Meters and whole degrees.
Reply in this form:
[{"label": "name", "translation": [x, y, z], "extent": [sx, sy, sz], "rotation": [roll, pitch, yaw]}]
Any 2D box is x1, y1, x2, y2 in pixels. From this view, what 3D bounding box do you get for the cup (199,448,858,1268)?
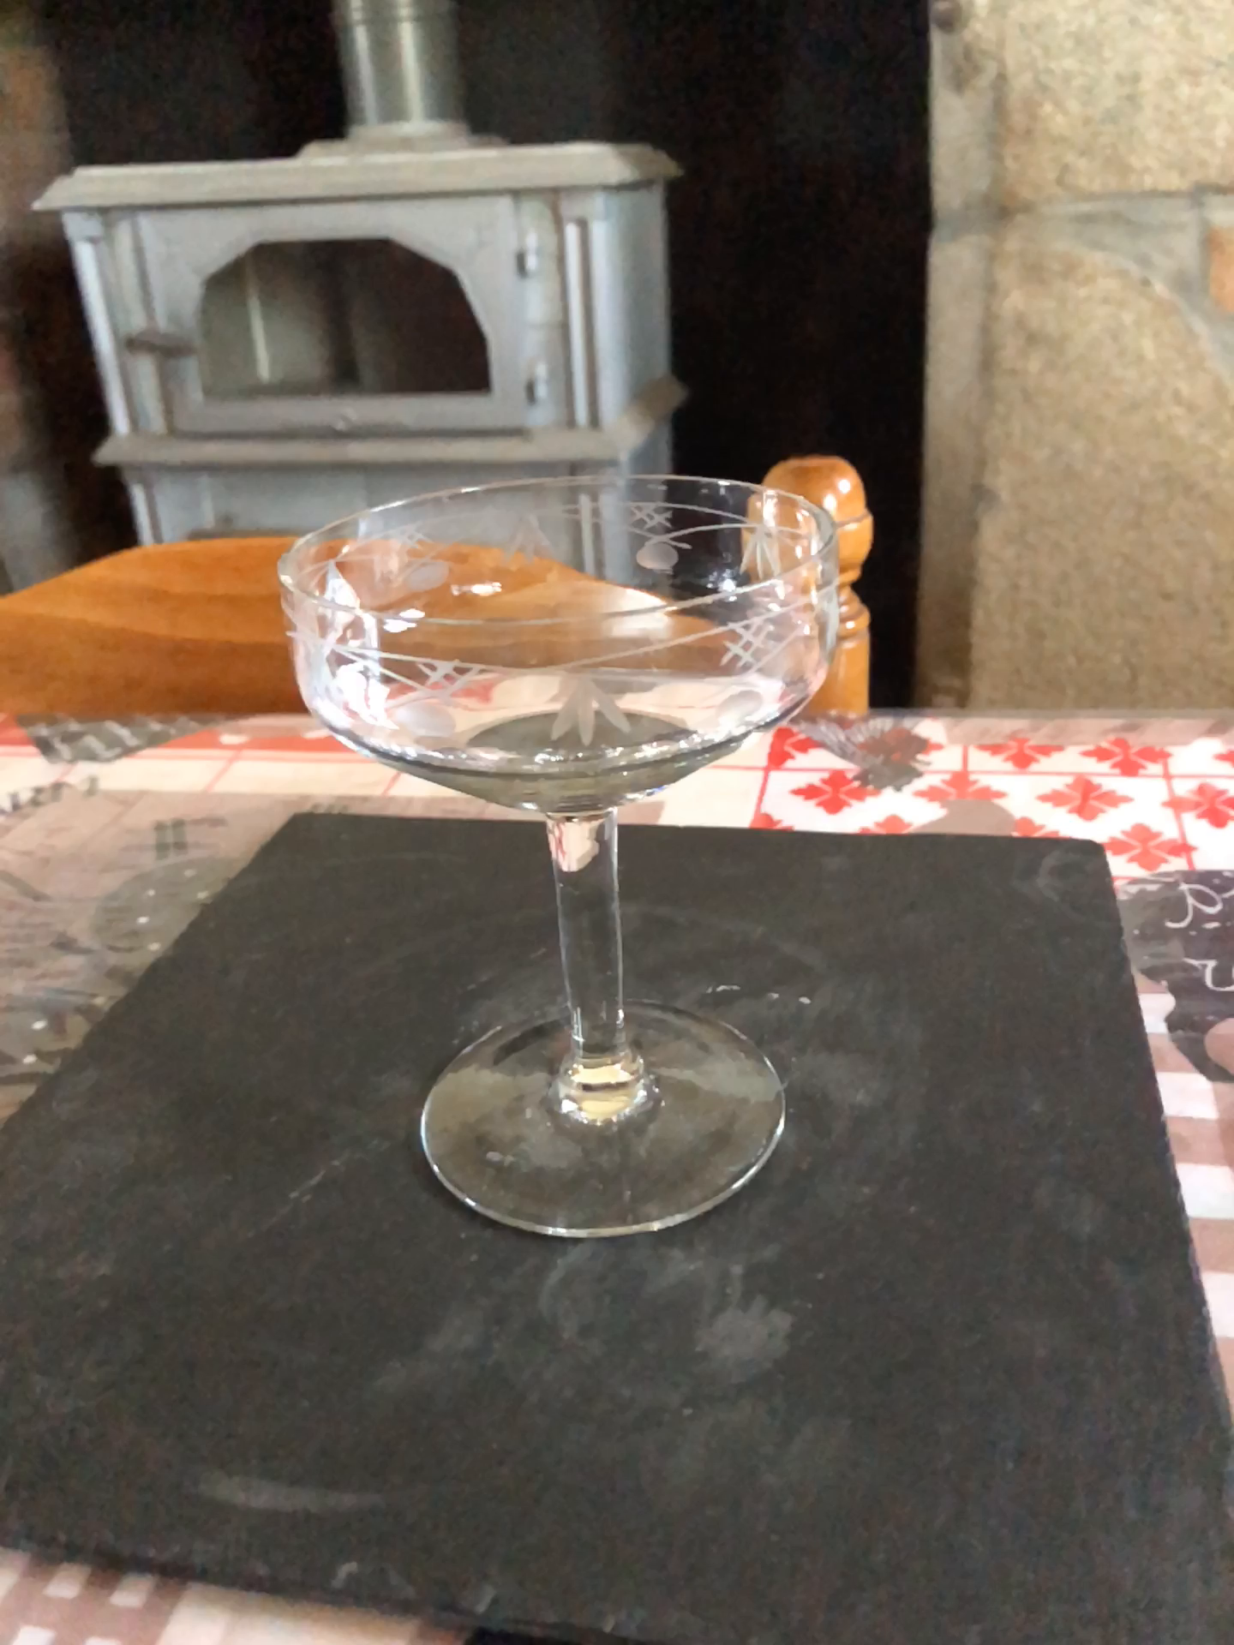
[{"label": "cup", "translation": [-0.007, 0.003, 0.252], "extent": [0.090, 0.119, 0.091], "rotation": [-3, 25, 1]}]
